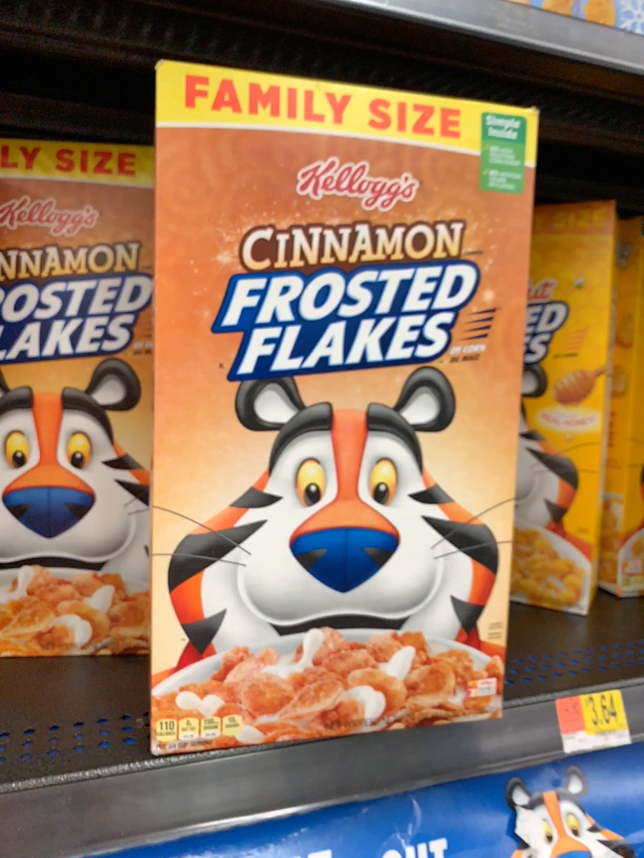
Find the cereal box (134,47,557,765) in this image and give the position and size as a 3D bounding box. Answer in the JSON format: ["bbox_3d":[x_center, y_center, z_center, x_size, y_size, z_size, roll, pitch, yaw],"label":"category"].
[{"bbox_3d":[0.007,-0.005,0.378,0.210,0.340,0.070,1,5,-14],"label":"cereal box"}]
